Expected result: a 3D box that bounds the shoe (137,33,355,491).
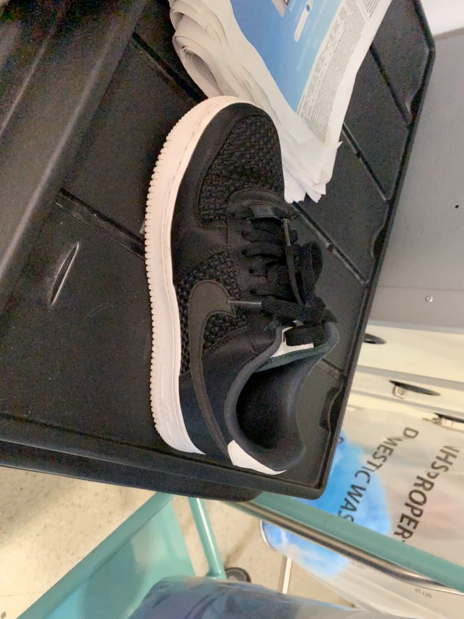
[{"bbox_3d":[0.007,-0.025,0.300,0.090,0.094,0.224,-5,98,-49],"label":"shoe"}]
